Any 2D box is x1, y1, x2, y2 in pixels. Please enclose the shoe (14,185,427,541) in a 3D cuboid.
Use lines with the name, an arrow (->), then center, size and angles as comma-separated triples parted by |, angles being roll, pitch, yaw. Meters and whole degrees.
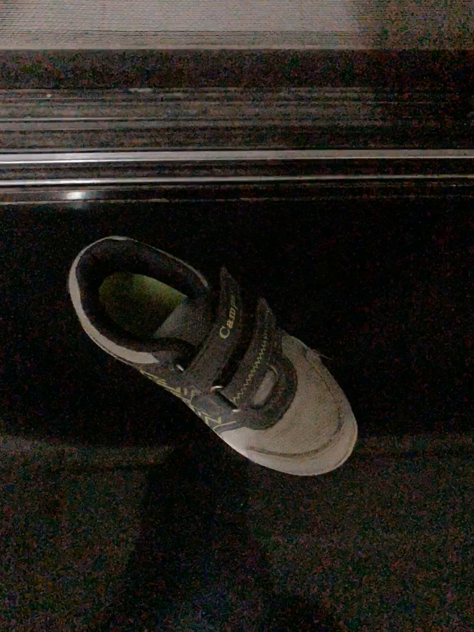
shoe -> -0.013, 0.028, 0.321 | 0.230, 0.080, 0.090 | 35, 74, 8
